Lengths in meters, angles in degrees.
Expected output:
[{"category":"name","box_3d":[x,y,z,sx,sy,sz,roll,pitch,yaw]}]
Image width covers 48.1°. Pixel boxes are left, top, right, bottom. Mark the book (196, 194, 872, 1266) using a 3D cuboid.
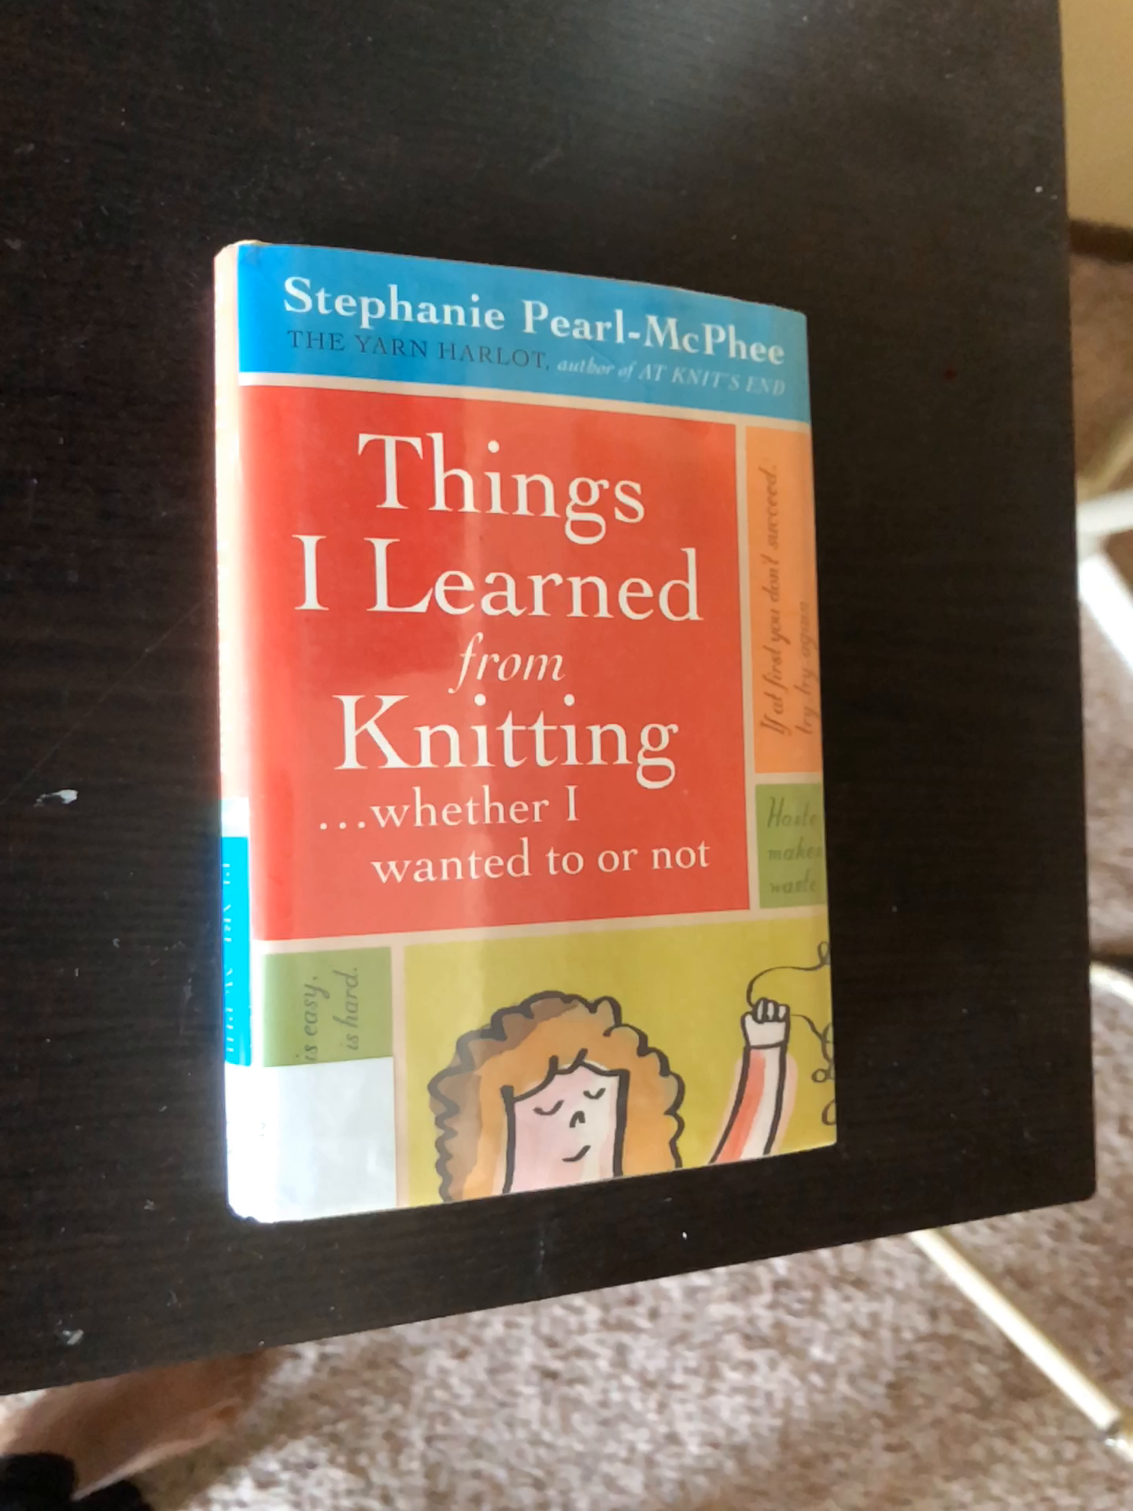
[{"category":"book","box_3d":[-0.003,-0.005,0.230,0.118,0.023,0.166,-1,88,-23]}]
